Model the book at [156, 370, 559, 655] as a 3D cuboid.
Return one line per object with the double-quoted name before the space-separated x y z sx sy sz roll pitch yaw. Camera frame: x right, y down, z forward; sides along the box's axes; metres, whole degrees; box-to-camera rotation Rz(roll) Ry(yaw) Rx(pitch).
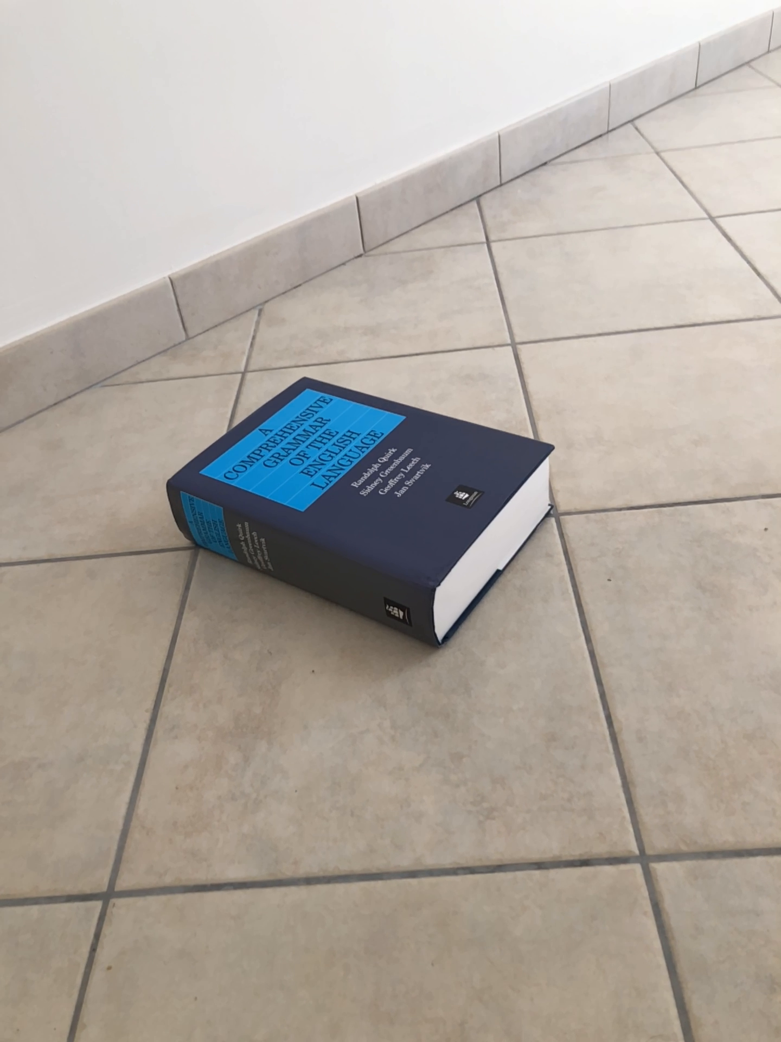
"book" -0.023 -0.023 0.680 0.256 0.066 0.181 19 46 29
